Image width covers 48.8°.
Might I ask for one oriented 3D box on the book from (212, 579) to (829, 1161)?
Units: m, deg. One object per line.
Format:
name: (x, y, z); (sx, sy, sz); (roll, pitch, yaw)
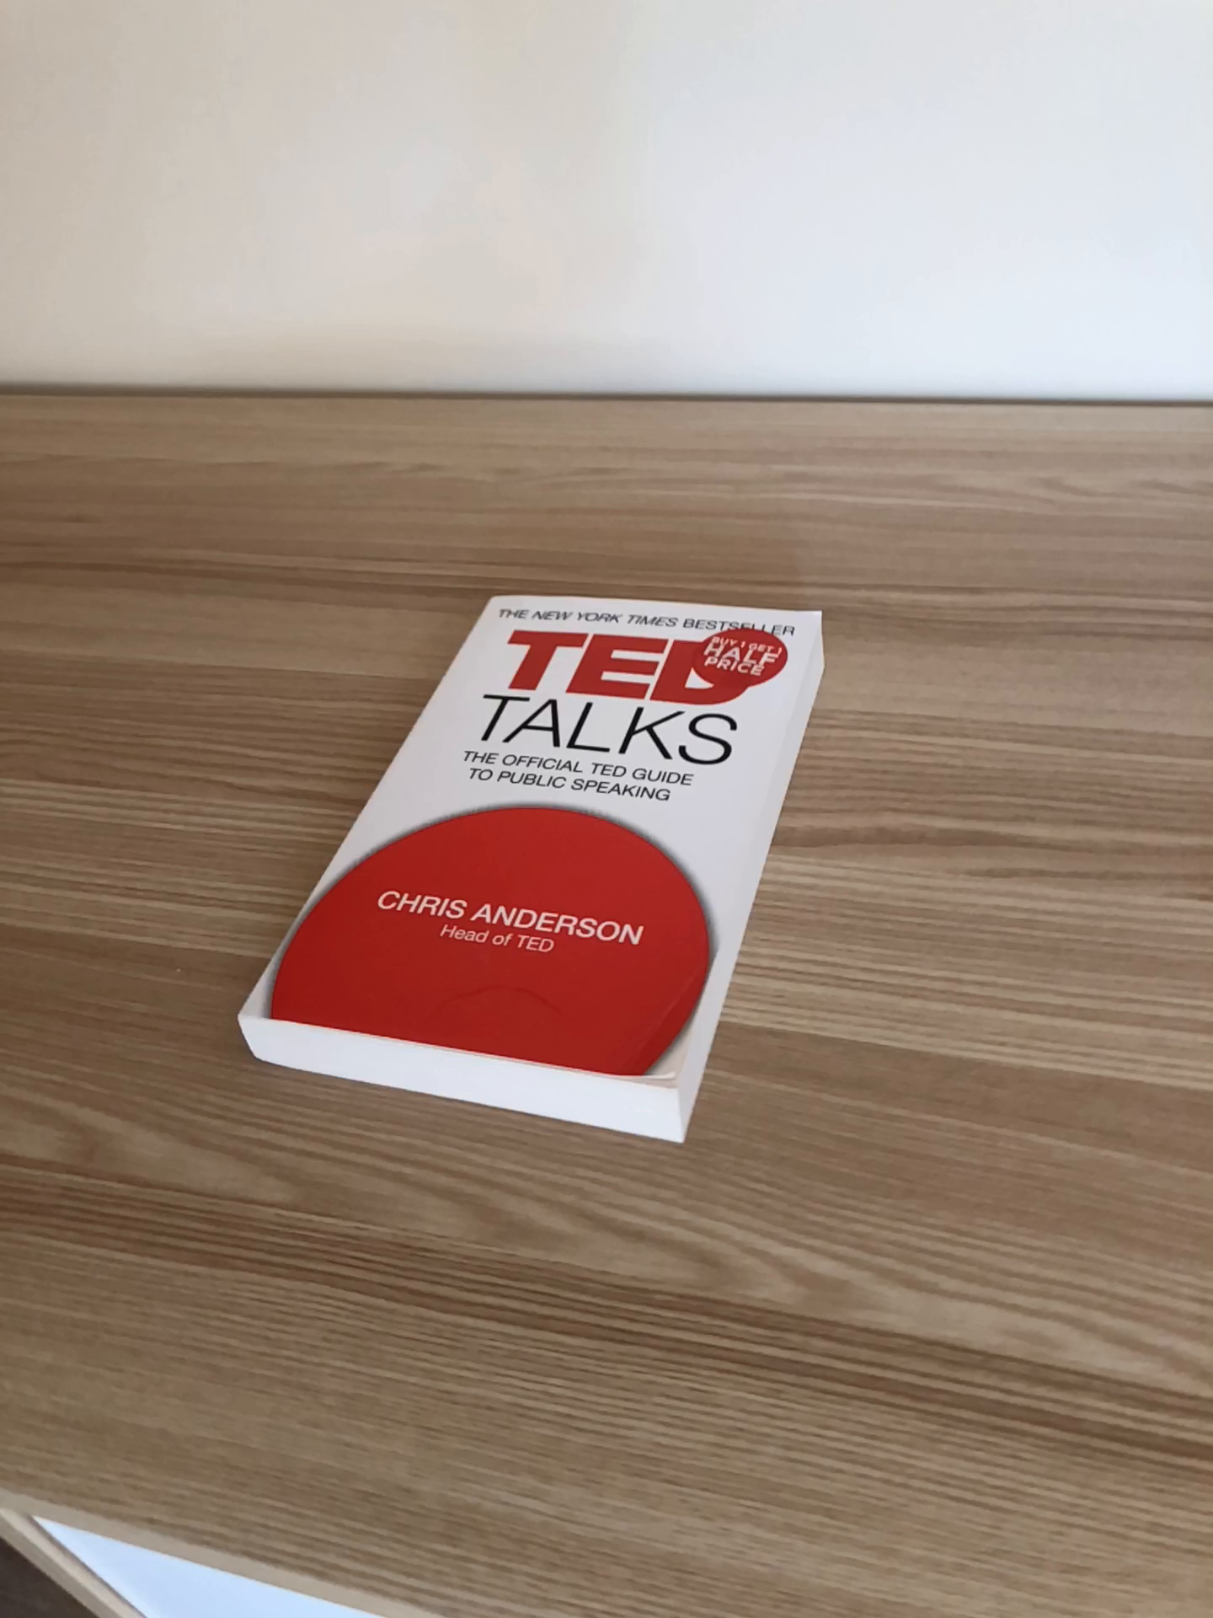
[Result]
book: (-0.014, 0.002, 0.448); (0.138, 0.030, 0.221); (7, 45, 17)
